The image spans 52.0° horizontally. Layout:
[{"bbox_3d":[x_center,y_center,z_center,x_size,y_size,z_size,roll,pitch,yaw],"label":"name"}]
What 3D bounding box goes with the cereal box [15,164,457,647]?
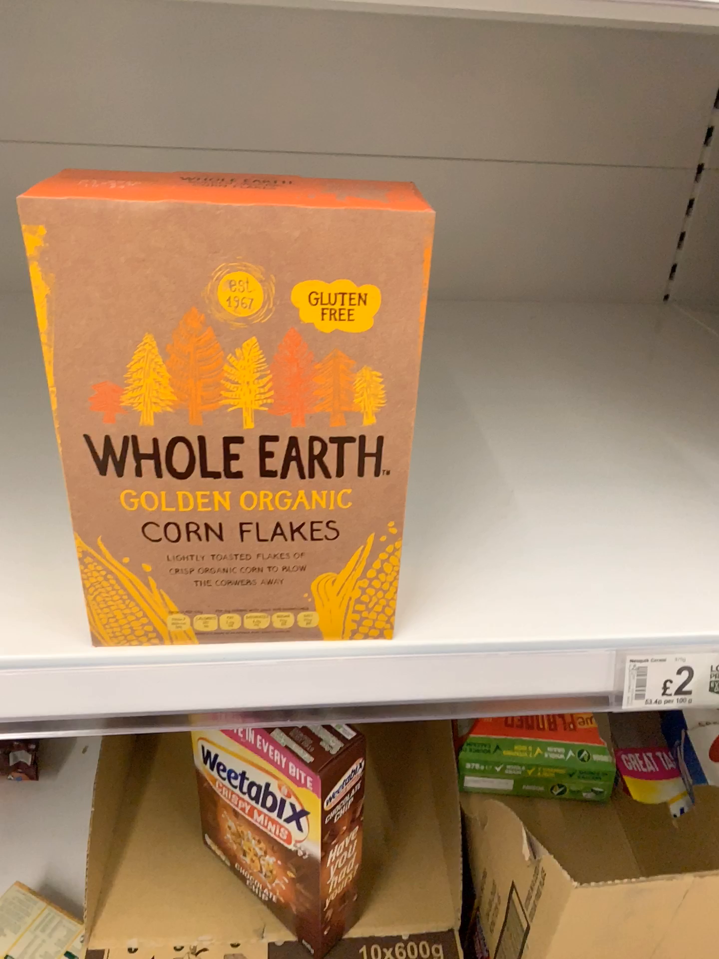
[{"bbox_3d":[-0.064,-0.034,0.443,0.200,0.267,0.091,0,30,-5],"label":"cereal box"}]
